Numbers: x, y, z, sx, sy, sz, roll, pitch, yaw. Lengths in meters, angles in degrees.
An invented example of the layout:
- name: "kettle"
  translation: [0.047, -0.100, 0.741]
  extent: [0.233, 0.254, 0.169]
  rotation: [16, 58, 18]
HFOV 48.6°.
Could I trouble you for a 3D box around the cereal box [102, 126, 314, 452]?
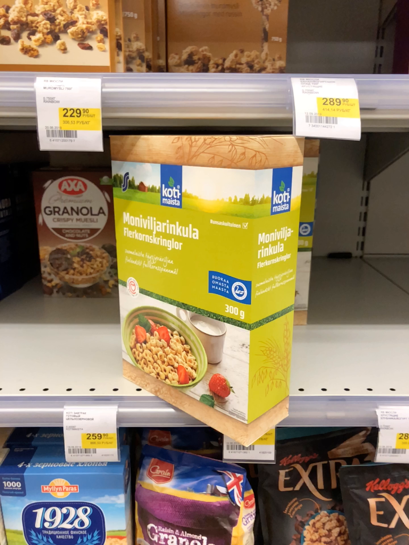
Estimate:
- name: "cereal box"
  translation: [-0.007, -0.001, 0.432]
  extent: [0.190, 0.259, 0.070]
  rotation: [15, 21, 42]
